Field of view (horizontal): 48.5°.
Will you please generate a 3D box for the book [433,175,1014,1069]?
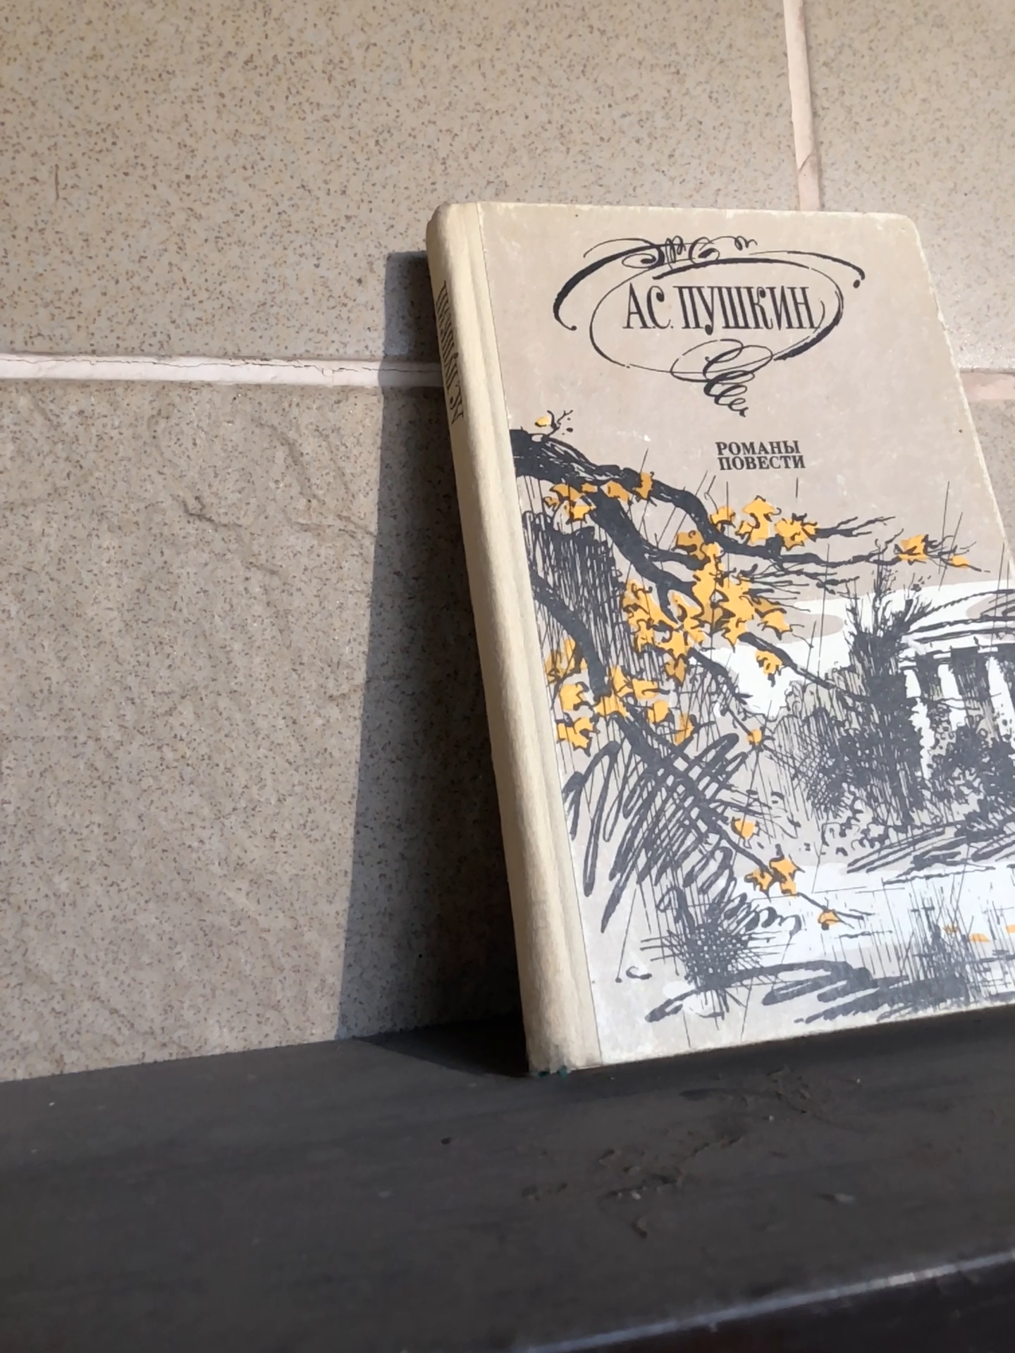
[{"bbox_3d":[0.056,-0.020,0.265,0.125,0.198,0.040,-2,-18,-14],"label":"book"}]
